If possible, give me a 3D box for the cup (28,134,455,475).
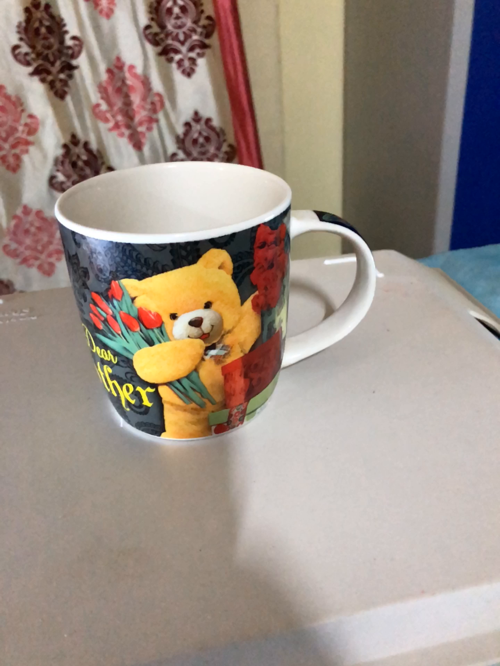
[{"bbox_3d":[-0.002,-0.017,0.227,0.130,0.099,0.080,-7,29,-4],"label":"cup"}]
